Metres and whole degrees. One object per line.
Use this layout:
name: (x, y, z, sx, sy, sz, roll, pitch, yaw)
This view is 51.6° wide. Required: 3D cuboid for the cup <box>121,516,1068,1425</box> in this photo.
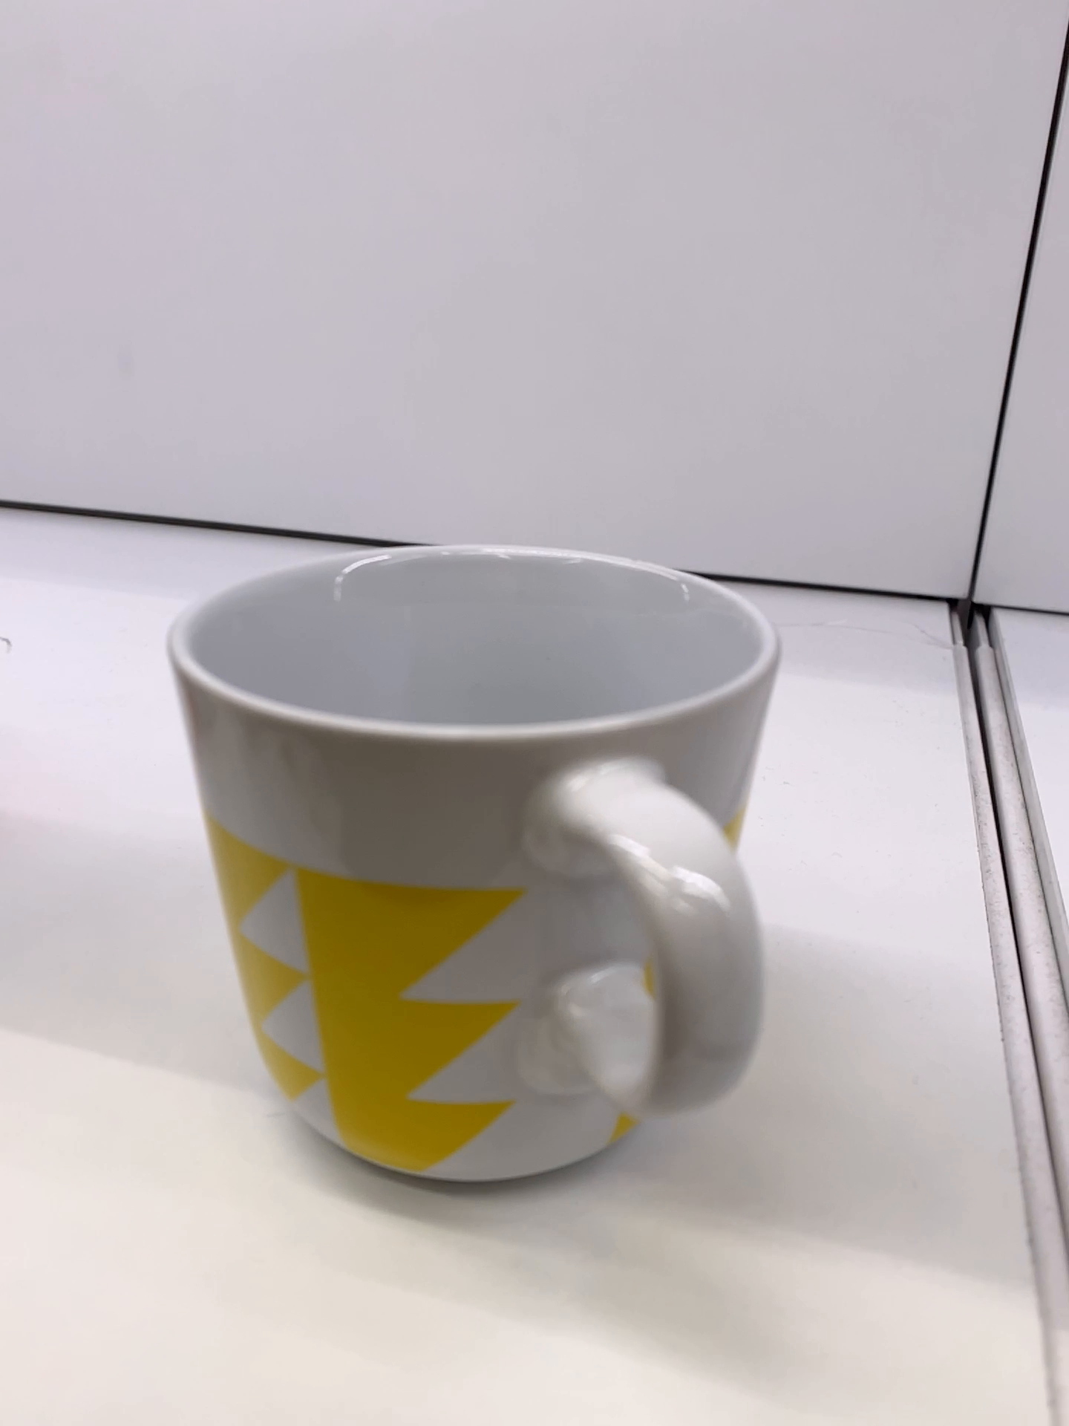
cup: (-0.004, 0.019, 0.151, 0.084, 0.065, 0.108, -8, 23, -22)
